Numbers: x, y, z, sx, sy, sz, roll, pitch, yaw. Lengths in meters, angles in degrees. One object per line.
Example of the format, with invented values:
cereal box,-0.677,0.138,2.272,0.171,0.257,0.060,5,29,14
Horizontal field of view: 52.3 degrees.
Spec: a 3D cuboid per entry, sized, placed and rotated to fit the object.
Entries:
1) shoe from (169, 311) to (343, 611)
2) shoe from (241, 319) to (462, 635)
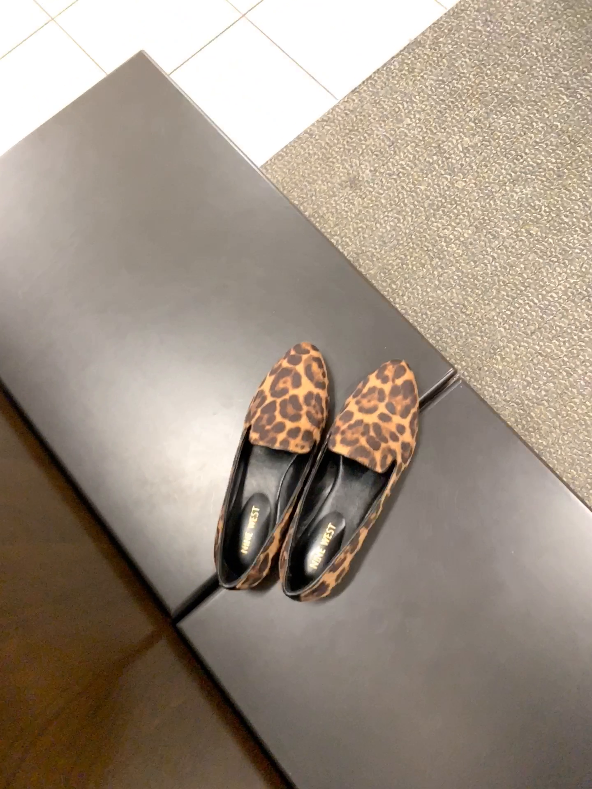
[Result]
shoe,-0.028,0.060,0.567,0.090,0.090,0.247,13,78,8
shoe,0.053,0.072,0.547,0.090,0.090,0.247,24,80,11
